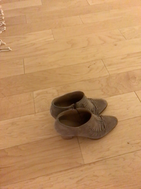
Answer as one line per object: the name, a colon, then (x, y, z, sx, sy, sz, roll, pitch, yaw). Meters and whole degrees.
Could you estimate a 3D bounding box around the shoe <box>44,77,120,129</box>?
shoe: (0.044, 0.034, 0.629, 0.270, 0.119, 0.100, -14, 55, -7)

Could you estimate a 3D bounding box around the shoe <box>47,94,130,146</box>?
shoe: (0.059, 0.101, 0.588, 0.270, 0.129, 0.111, -8, 54, -3)
